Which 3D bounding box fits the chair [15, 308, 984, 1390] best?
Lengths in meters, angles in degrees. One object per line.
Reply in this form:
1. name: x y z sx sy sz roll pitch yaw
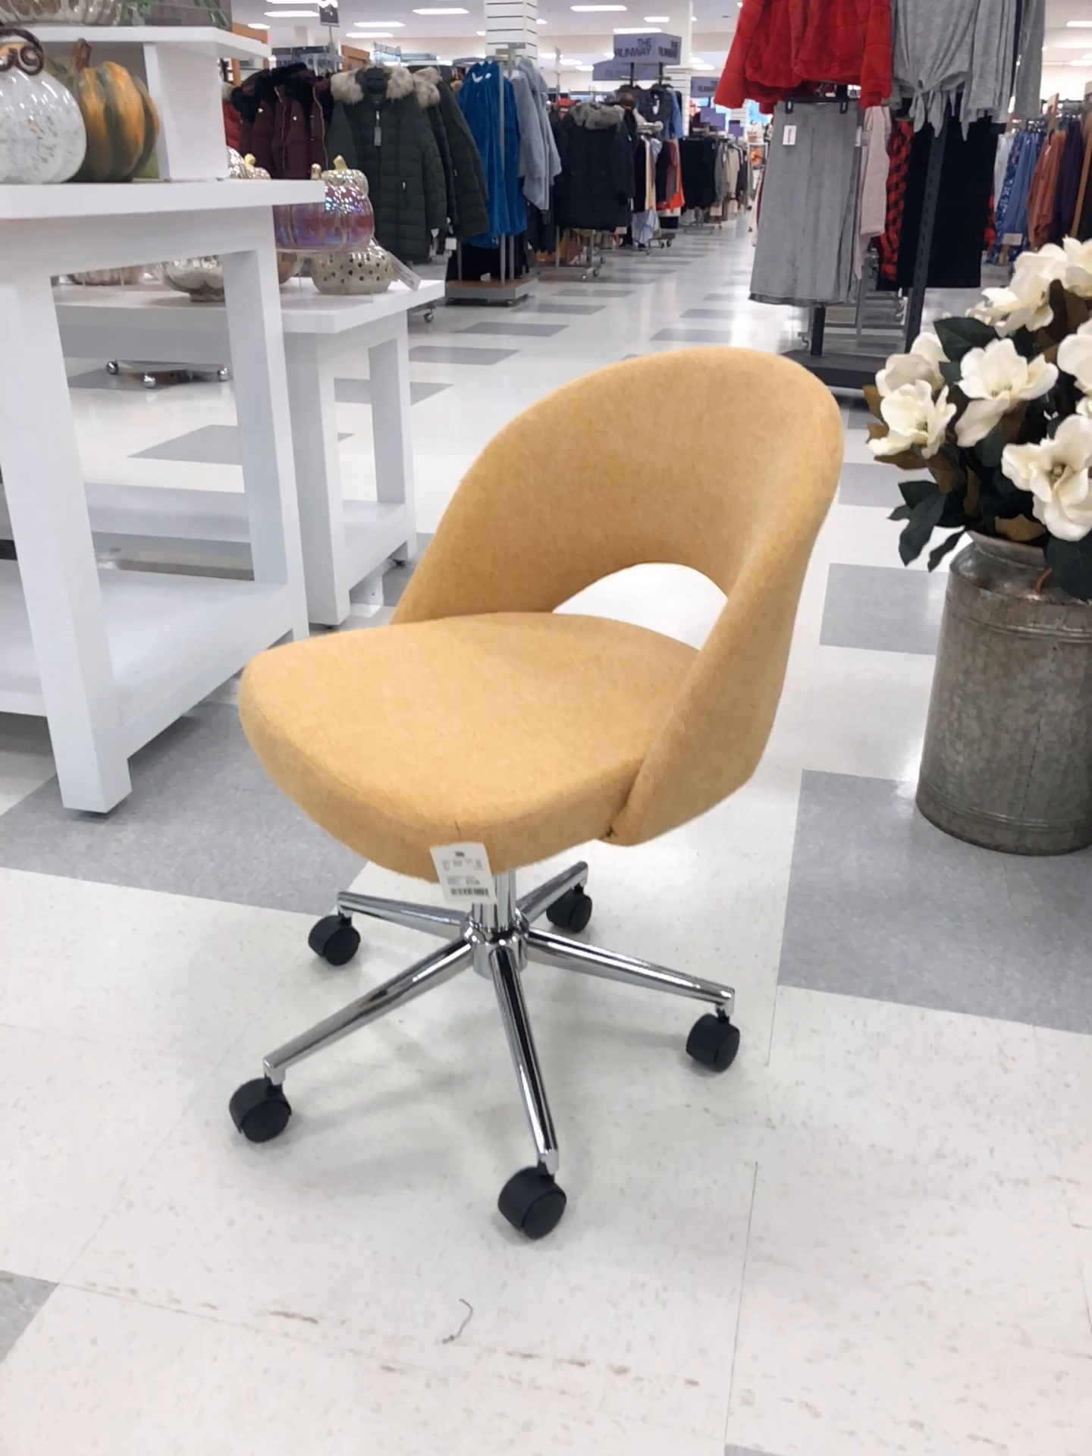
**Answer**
1. chair: -0.070 0.018 1.189 0.636 0.749 0.583 -14 28 -29
